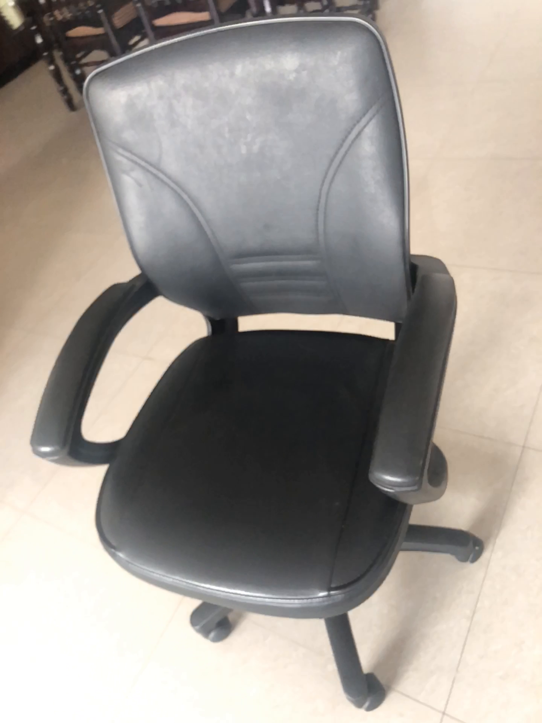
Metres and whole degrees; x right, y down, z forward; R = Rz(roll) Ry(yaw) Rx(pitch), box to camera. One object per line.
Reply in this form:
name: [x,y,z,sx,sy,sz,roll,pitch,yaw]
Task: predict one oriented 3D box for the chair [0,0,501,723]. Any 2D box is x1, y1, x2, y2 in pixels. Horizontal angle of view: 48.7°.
chair: [-0.043,0.079,0.956,0.701,0.953,0.633,3,49,25]
